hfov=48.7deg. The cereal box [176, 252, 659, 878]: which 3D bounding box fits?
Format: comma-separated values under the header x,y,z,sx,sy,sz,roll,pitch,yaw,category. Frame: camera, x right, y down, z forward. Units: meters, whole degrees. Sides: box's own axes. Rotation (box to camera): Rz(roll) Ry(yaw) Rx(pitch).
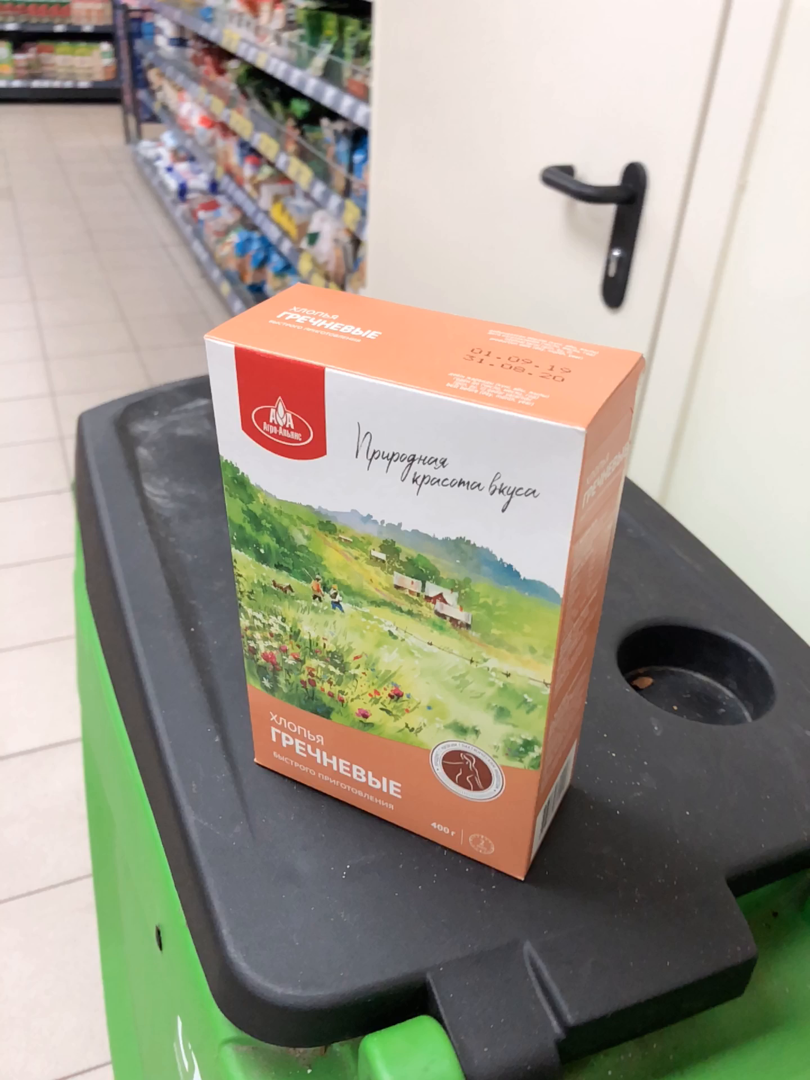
x,y,z,sx,sy,sz,roll,pitch,yaw,category
0.001,0.014,0.342,0.140,0.209,0.060,18,39,22,cereal box
